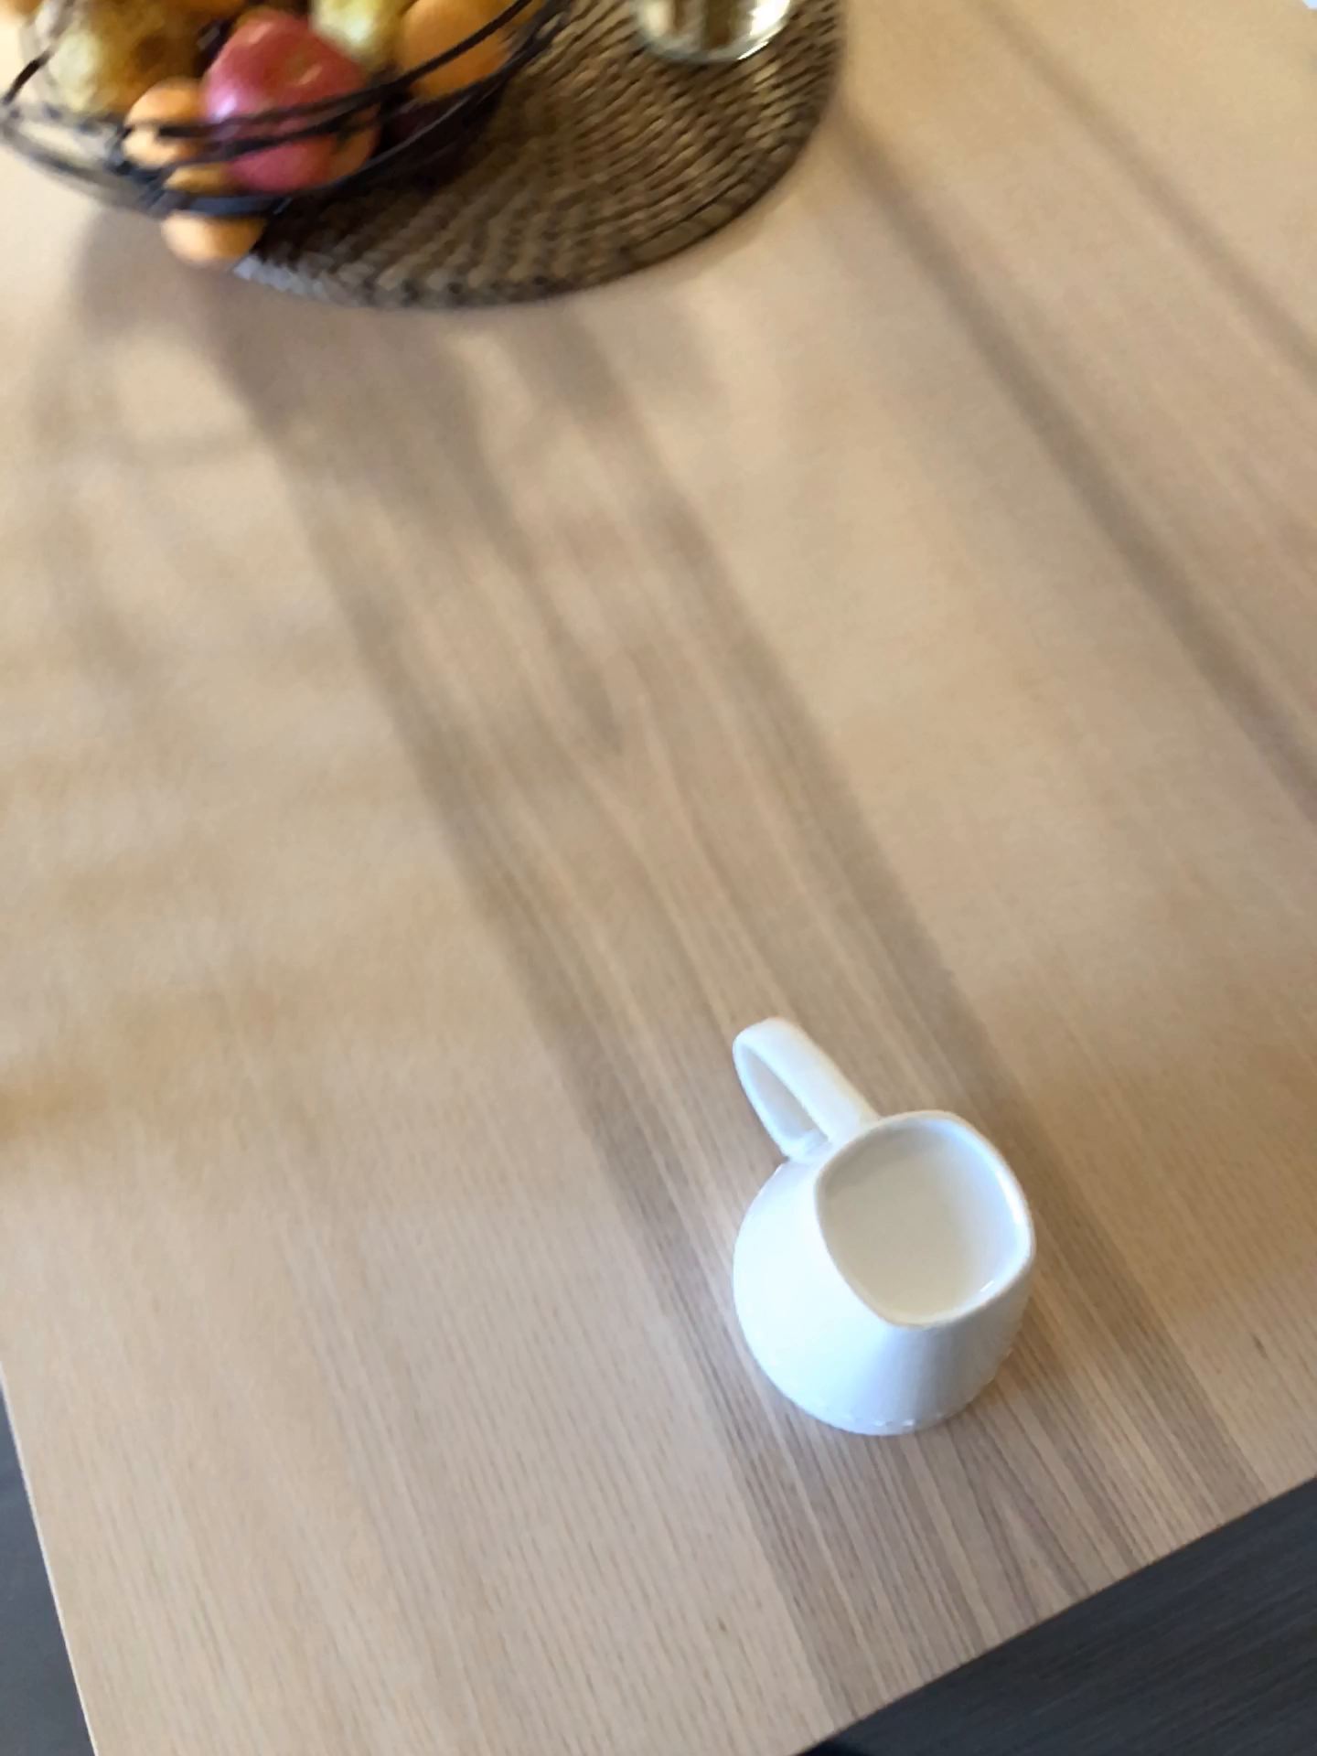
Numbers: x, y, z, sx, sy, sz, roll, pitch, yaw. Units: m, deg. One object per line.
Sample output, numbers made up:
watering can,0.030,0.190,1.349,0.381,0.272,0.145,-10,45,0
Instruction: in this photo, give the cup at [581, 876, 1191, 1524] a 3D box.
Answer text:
cup,0.059,0.102,0.445,0.100,0.120,0.140,-29,68,-11
